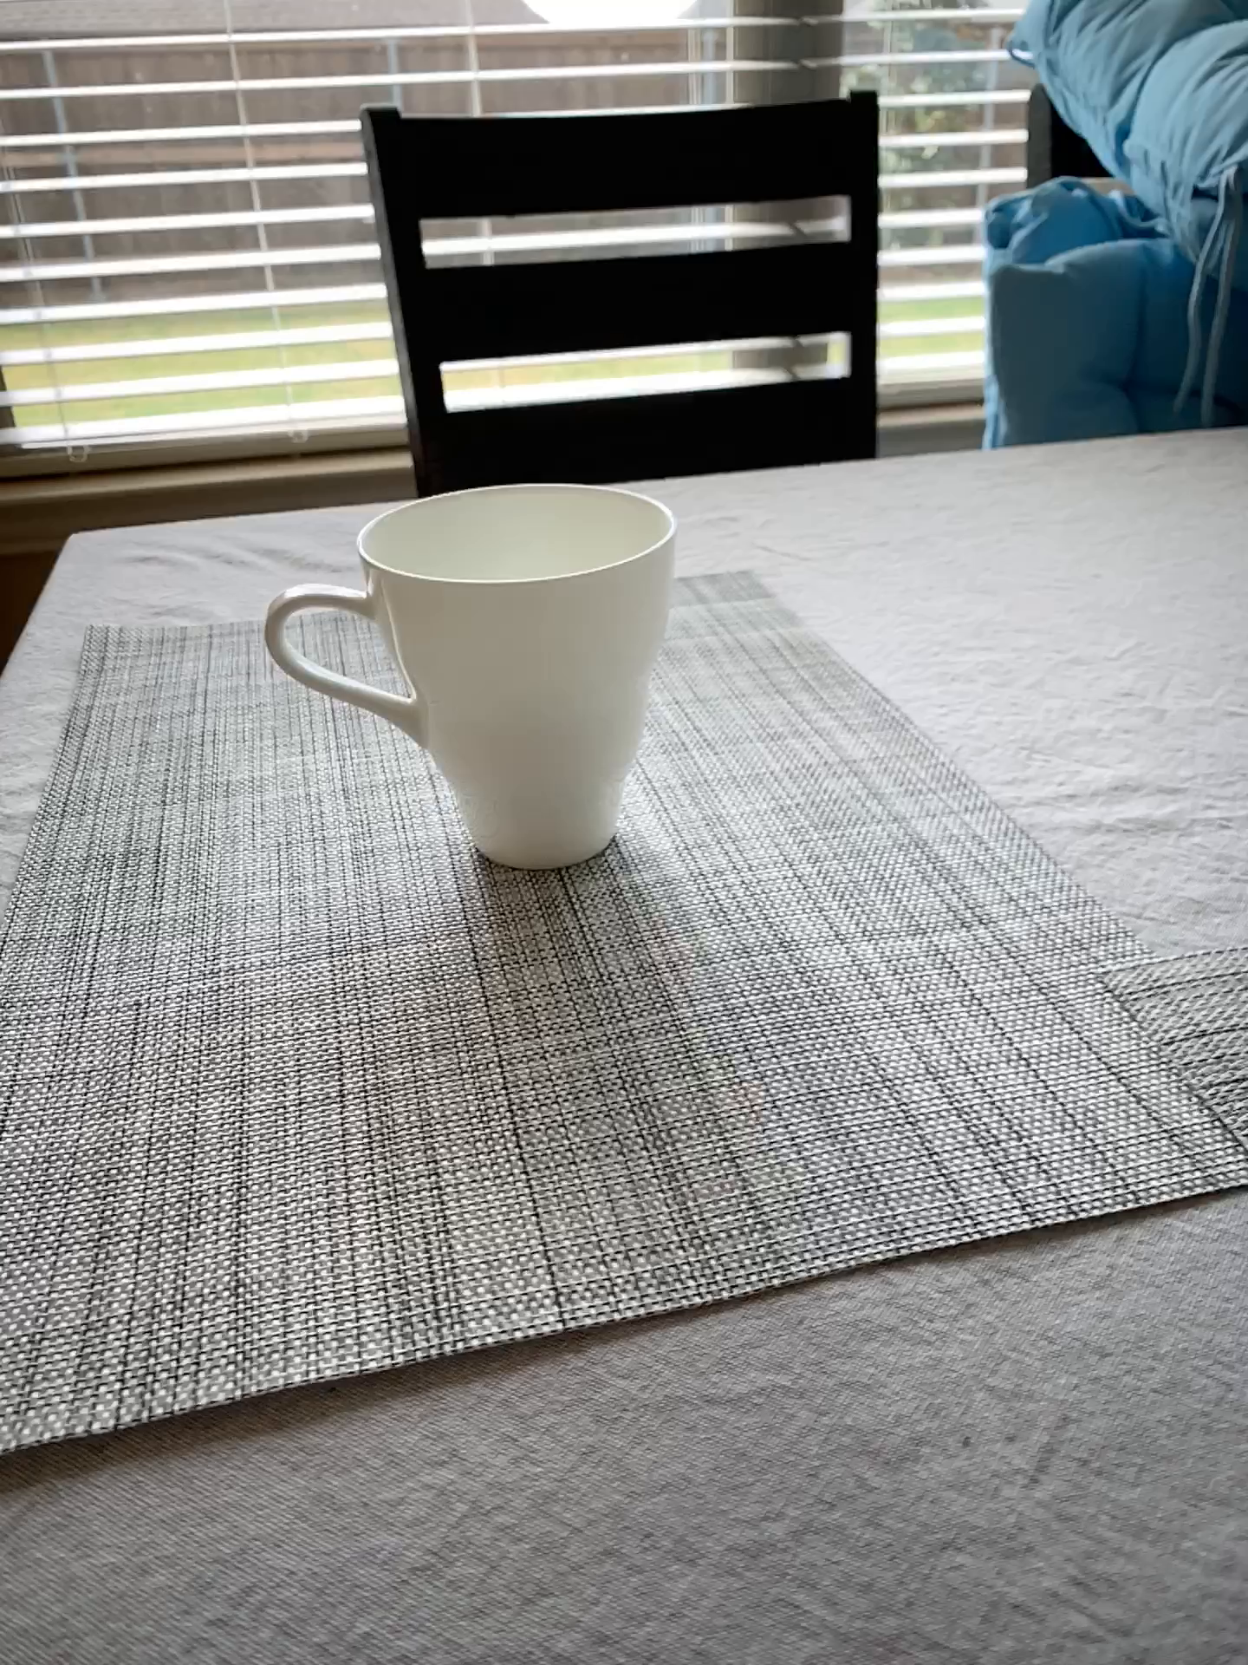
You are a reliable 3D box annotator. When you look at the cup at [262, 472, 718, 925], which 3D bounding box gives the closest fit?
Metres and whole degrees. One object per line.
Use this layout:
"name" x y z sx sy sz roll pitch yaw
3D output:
"cup" -0.043 -0.047 0.405 0.121 0.098 0.099 -8 28 -11
